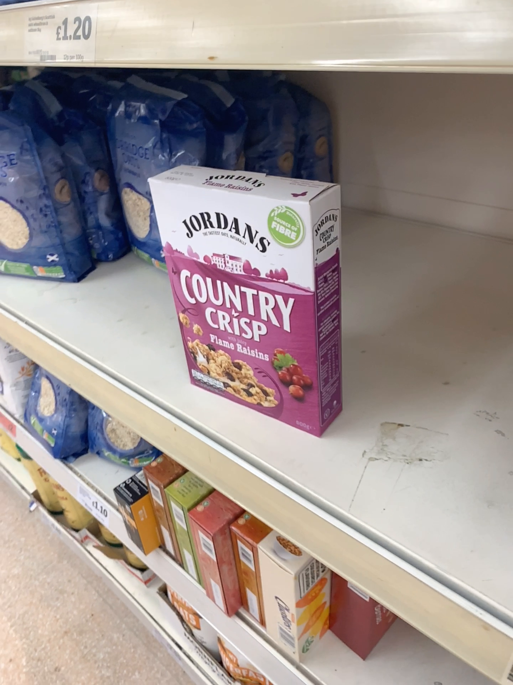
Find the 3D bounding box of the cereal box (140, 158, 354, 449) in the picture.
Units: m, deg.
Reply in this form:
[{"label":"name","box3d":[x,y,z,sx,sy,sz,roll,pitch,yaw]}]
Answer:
[{"label":"cereal box","box3d":[-0.006,-0.040,0.536,0.201,0.258,0.050,18,39,32]}]
